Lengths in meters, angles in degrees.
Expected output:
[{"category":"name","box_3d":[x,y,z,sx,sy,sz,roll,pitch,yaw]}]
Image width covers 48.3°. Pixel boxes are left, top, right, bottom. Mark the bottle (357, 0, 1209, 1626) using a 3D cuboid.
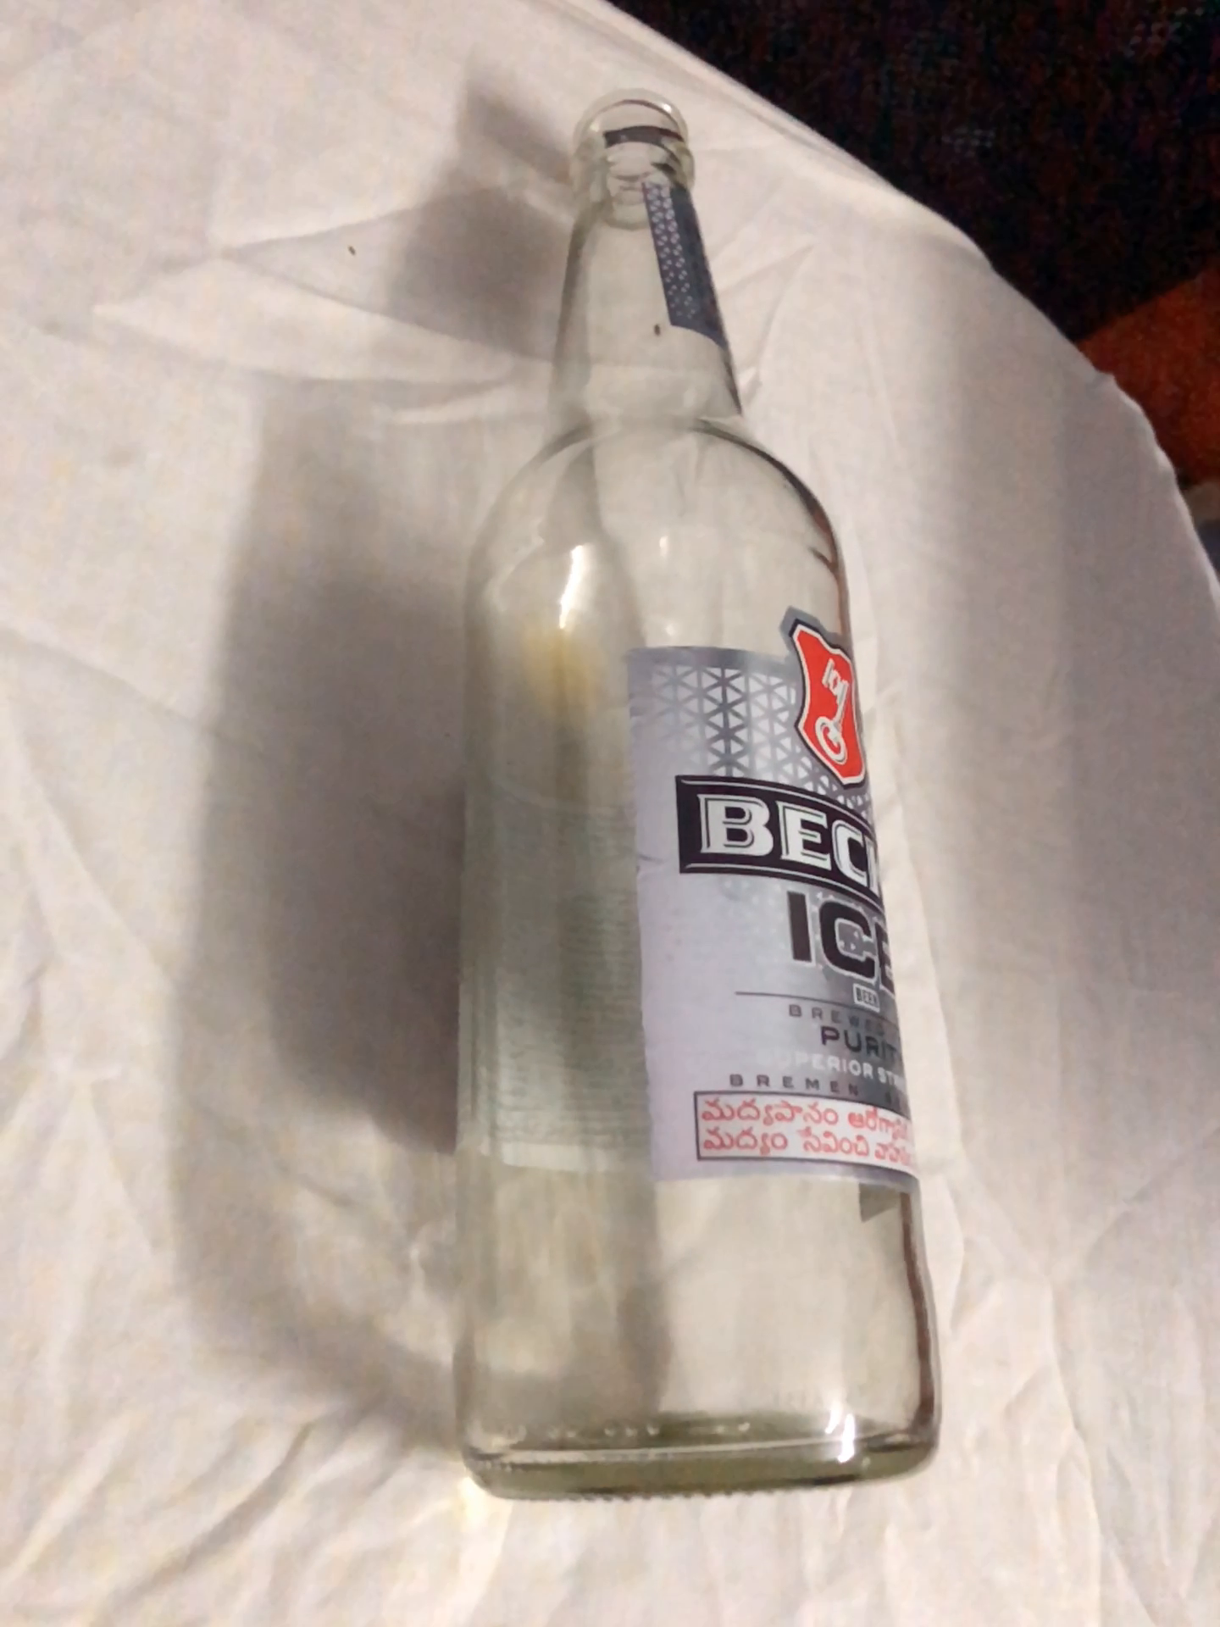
[{"category":"bottle","box_3d":[0.022,-0.032,0.223,0.080,0.079,0.280,12,69,-32]}]
